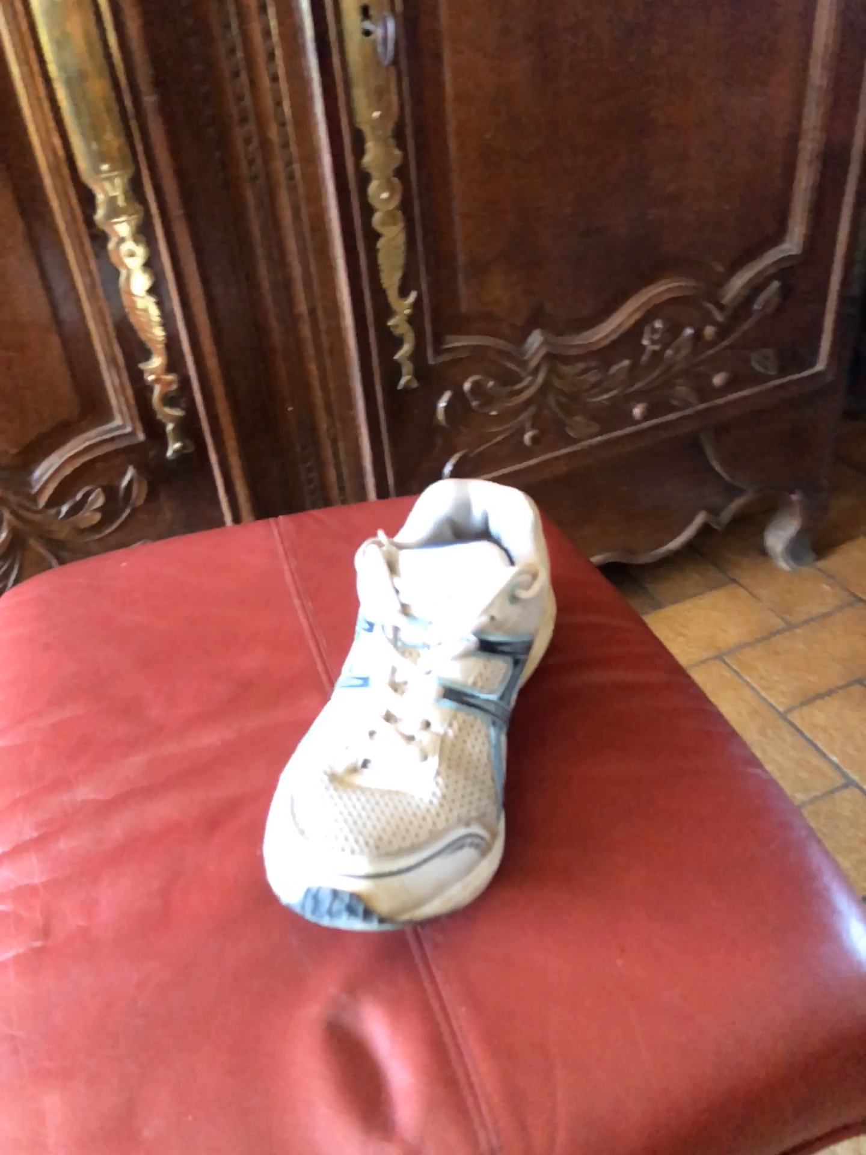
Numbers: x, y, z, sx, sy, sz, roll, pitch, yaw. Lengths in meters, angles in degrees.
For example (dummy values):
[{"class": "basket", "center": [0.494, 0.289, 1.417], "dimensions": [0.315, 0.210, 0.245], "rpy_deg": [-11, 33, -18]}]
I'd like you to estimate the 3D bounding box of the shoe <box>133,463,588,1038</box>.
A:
[{"class": "shoe", "center": [-0.009, 0.053, 0.447], "dimensions": [0.120, 0.080, 0.272], "rpy_deg": [6, 38, 16]}]
